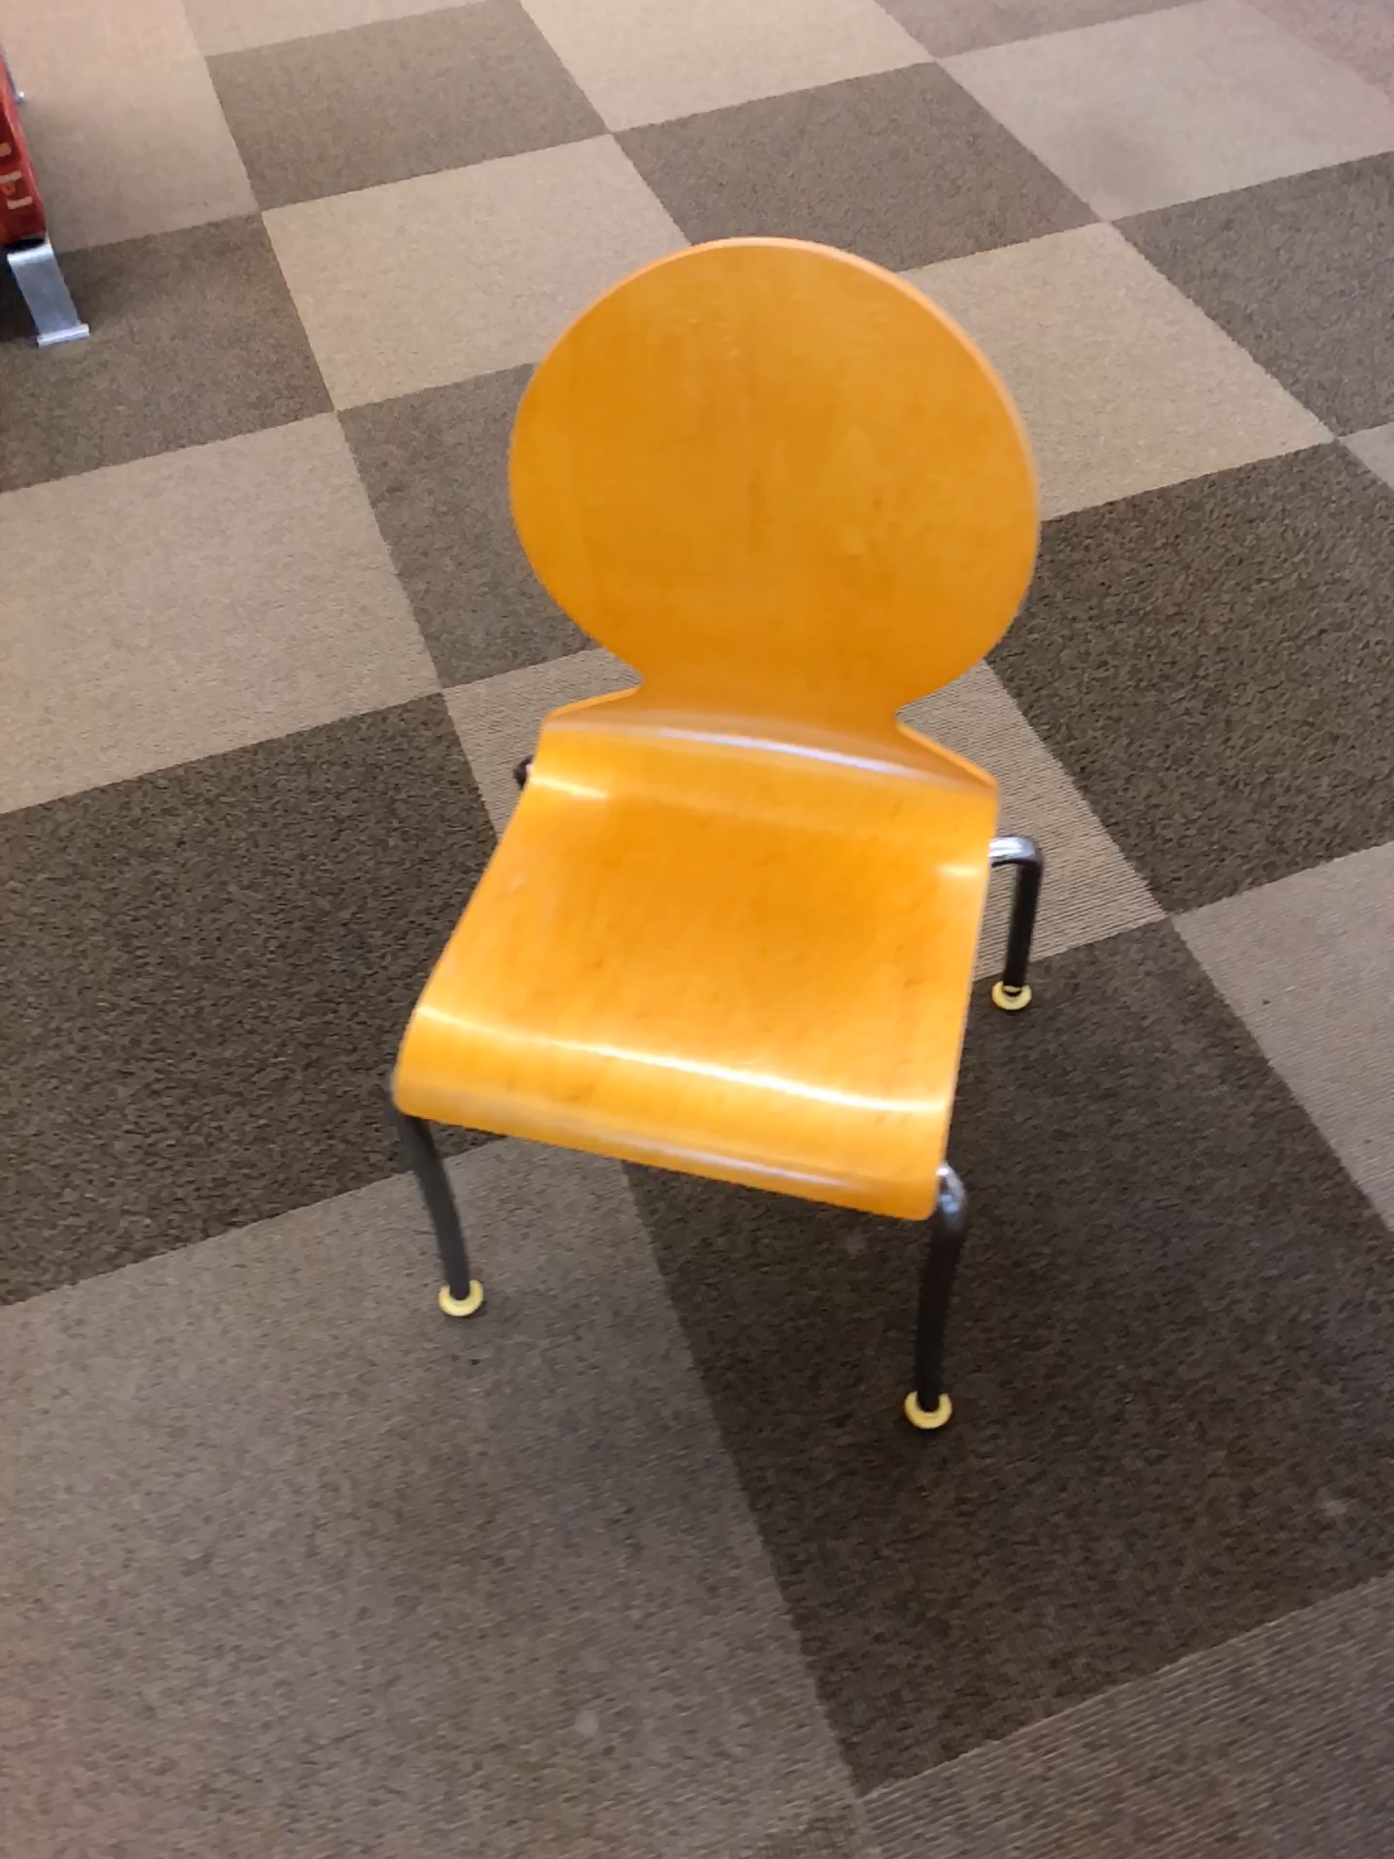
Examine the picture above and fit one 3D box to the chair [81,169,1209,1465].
[{"bbox_3d":[0.022,-0.036,1.068,0.465,0.723,0.471,11,53,11],"label":"chair"}]
